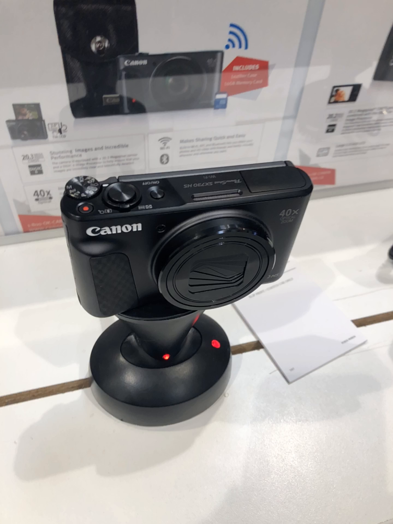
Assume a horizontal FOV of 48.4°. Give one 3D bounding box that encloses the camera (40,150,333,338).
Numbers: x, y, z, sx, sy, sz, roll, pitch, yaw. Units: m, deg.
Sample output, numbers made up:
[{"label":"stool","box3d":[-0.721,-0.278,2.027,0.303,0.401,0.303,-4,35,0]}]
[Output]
[{"label":"camera","box3d":[-0.007,-0.009,0.214,0.120,0.070,0.040,-8,50,-13]}]
